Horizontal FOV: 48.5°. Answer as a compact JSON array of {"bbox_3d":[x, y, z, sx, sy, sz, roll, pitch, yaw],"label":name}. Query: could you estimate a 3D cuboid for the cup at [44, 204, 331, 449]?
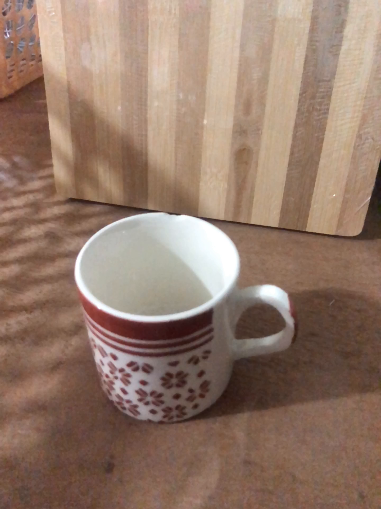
[{"bbox_3d":[0.002,0.030,0.180,0.090,0.080,0.060,3,40,6],"label":"cup"}]
